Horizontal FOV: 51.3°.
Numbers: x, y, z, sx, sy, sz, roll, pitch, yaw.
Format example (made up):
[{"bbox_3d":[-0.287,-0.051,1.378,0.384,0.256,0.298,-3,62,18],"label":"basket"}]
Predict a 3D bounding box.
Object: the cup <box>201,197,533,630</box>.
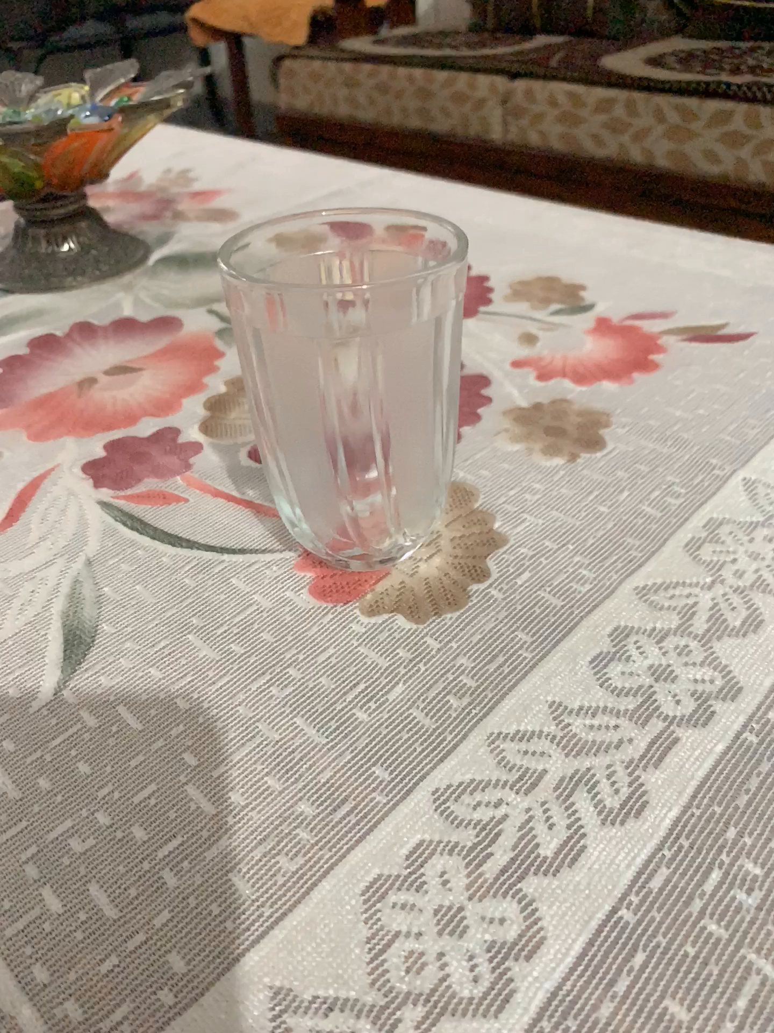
[{"bbox_3d":[-0.006,-0.034,0.252,0.070,0.100,0.070,-3,36,2],"label":"cup"}]
